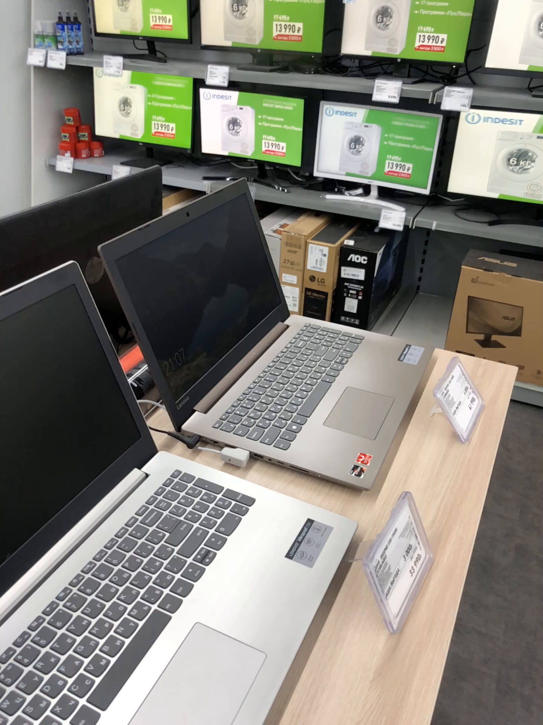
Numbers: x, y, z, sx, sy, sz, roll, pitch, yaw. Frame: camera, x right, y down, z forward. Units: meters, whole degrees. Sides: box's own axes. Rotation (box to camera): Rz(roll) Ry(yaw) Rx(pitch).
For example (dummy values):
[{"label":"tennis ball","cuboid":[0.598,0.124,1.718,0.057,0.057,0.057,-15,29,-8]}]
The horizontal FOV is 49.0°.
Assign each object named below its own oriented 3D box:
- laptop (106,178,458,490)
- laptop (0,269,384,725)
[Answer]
[{"label":"laptop","cuboid":[0.034,-0.075,0.790,0.328,0.209,0.352,15,33,19]},{"label":"laptop","cuboid":[-0.129,0.105,0.461,0.323,0.207,0.344,14,31,19]}]
